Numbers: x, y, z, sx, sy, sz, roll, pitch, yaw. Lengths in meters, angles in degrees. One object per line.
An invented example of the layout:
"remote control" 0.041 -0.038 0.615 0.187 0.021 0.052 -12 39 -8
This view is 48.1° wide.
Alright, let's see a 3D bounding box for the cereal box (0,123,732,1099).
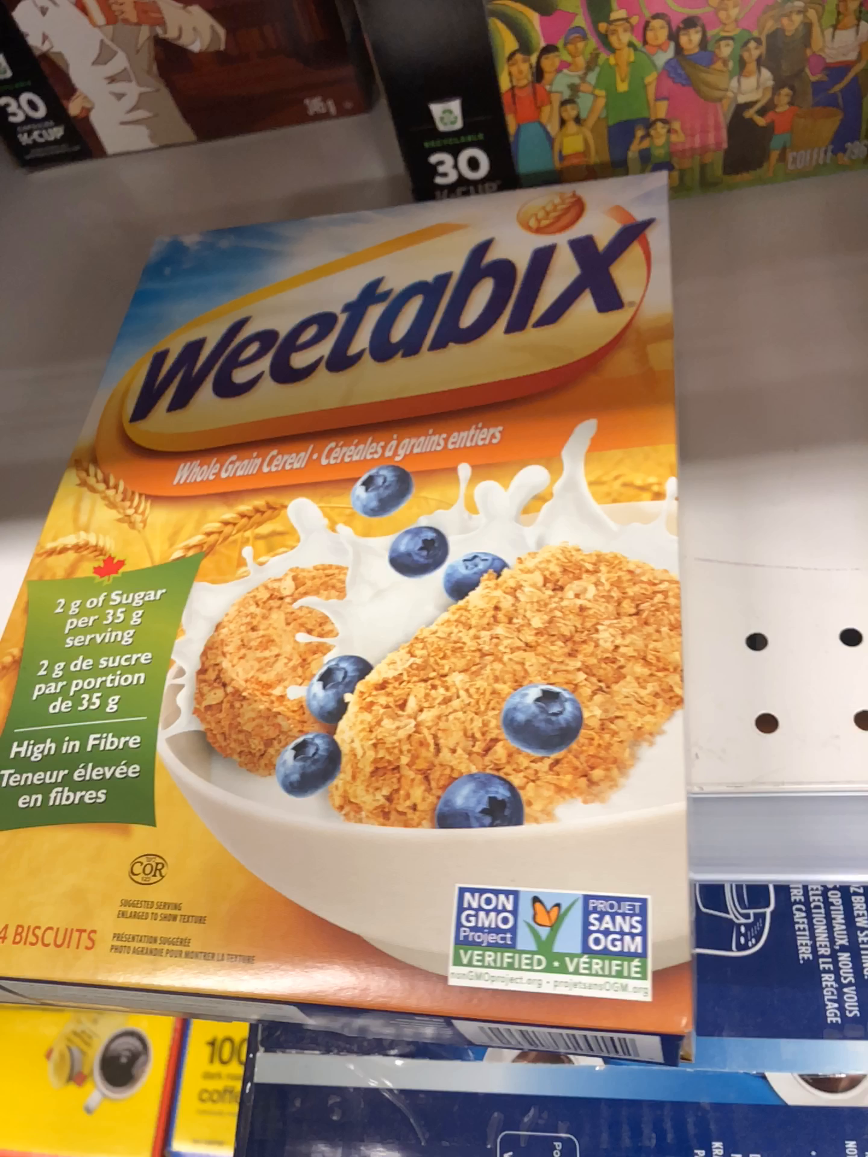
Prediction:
"cereal box" -0.027 -0.018 0.298 0.210 0.050 0.290 -2 55 15
